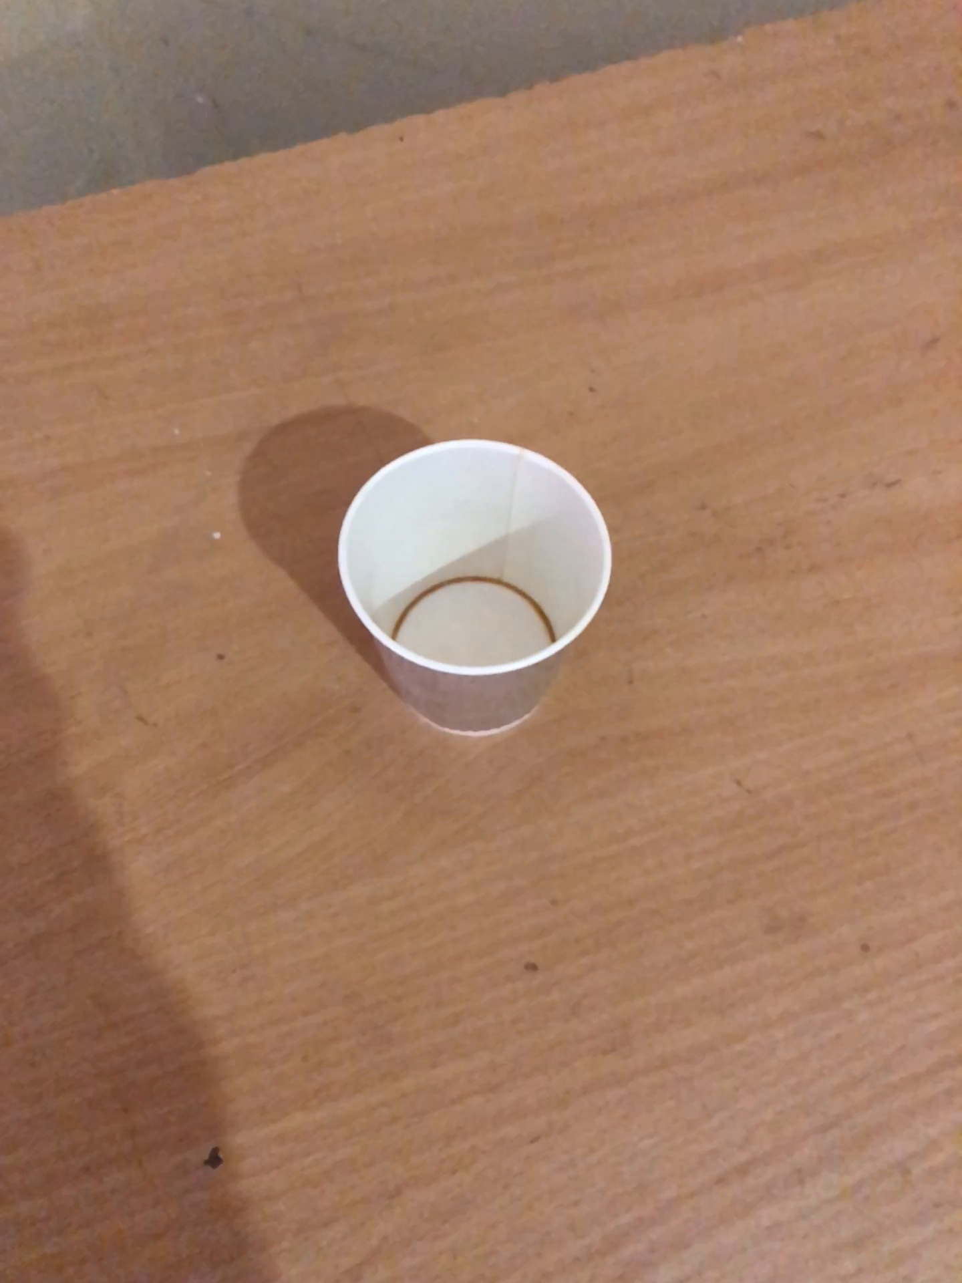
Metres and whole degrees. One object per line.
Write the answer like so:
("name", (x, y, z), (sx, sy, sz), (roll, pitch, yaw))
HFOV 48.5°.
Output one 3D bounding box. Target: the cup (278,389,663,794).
("cup", (-0.002, -0.012, 0.306), (0.074, 0.064, 0.067), (34, 72, 14))
